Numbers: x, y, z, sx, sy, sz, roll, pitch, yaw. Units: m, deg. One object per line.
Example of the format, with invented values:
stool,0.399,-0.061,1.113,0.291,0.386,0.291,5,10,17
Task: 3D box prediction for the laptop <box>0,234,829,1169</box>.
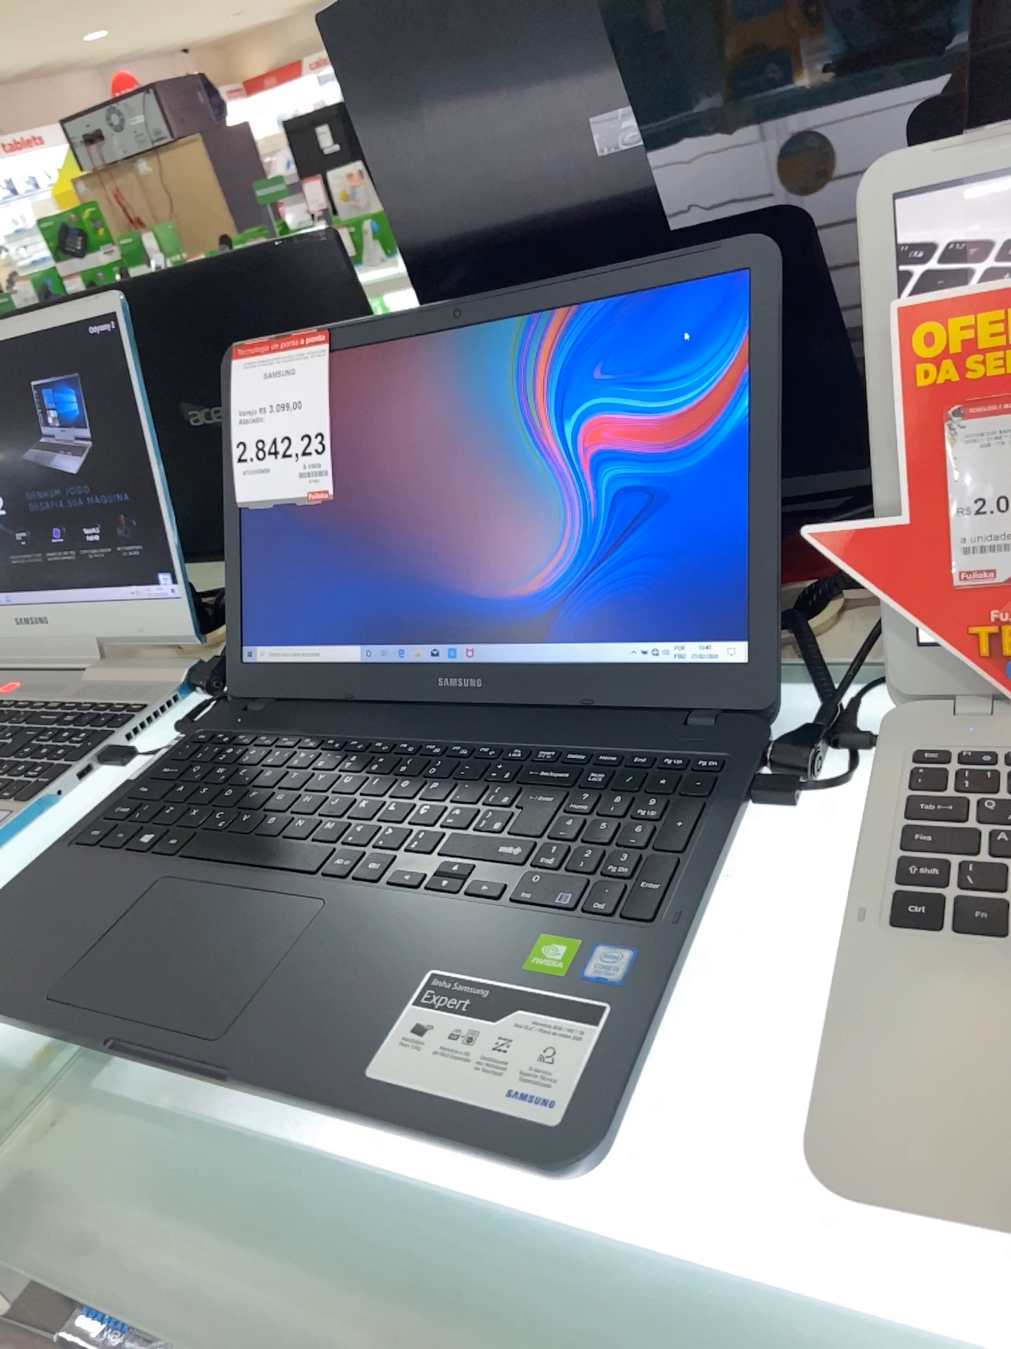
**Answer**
laptop,-0.081,-0.031,0.506,0.367,0.193,0.371,0,33,31
